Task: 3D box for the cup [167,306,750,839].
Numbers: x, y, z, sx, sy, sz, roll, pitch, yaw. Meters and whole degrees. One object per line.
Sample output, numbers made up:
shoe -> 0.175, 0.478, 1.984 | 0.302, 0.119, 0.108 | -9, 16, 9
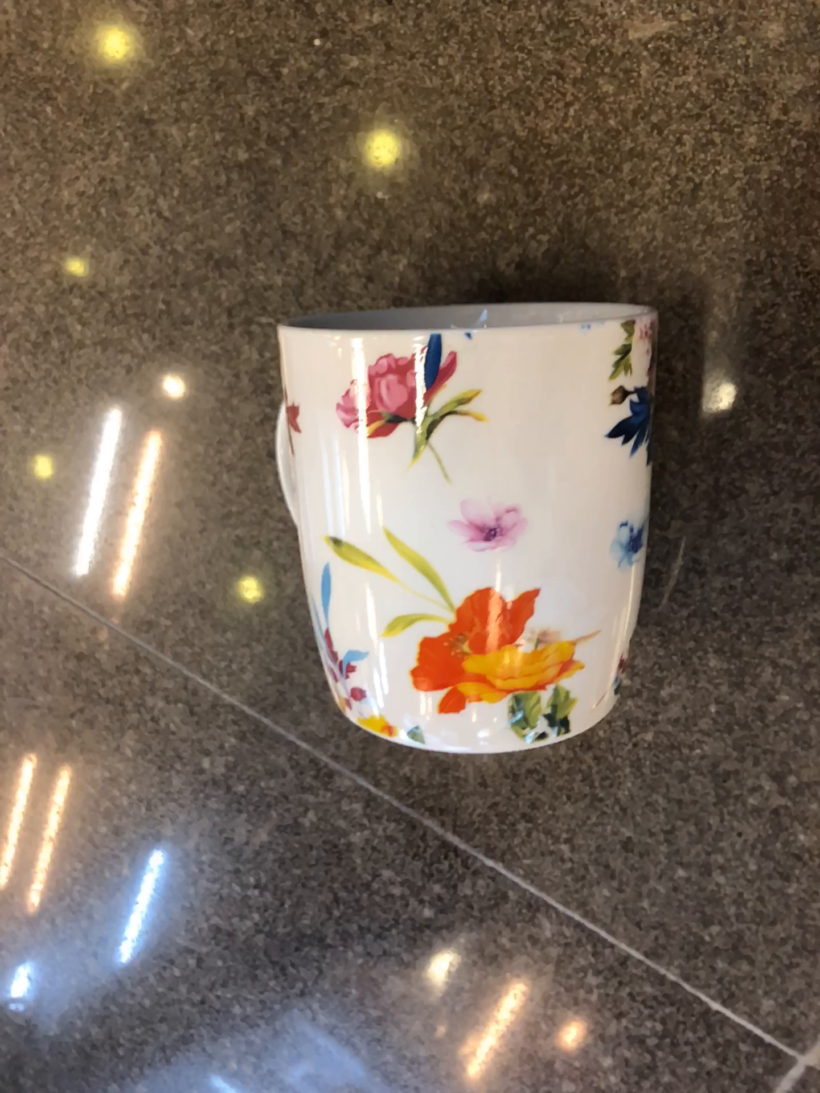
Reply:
cup -> 0.003, -0.010, 0.223 | 0.120, 0.080, 0.090 | 23, 119, 56
